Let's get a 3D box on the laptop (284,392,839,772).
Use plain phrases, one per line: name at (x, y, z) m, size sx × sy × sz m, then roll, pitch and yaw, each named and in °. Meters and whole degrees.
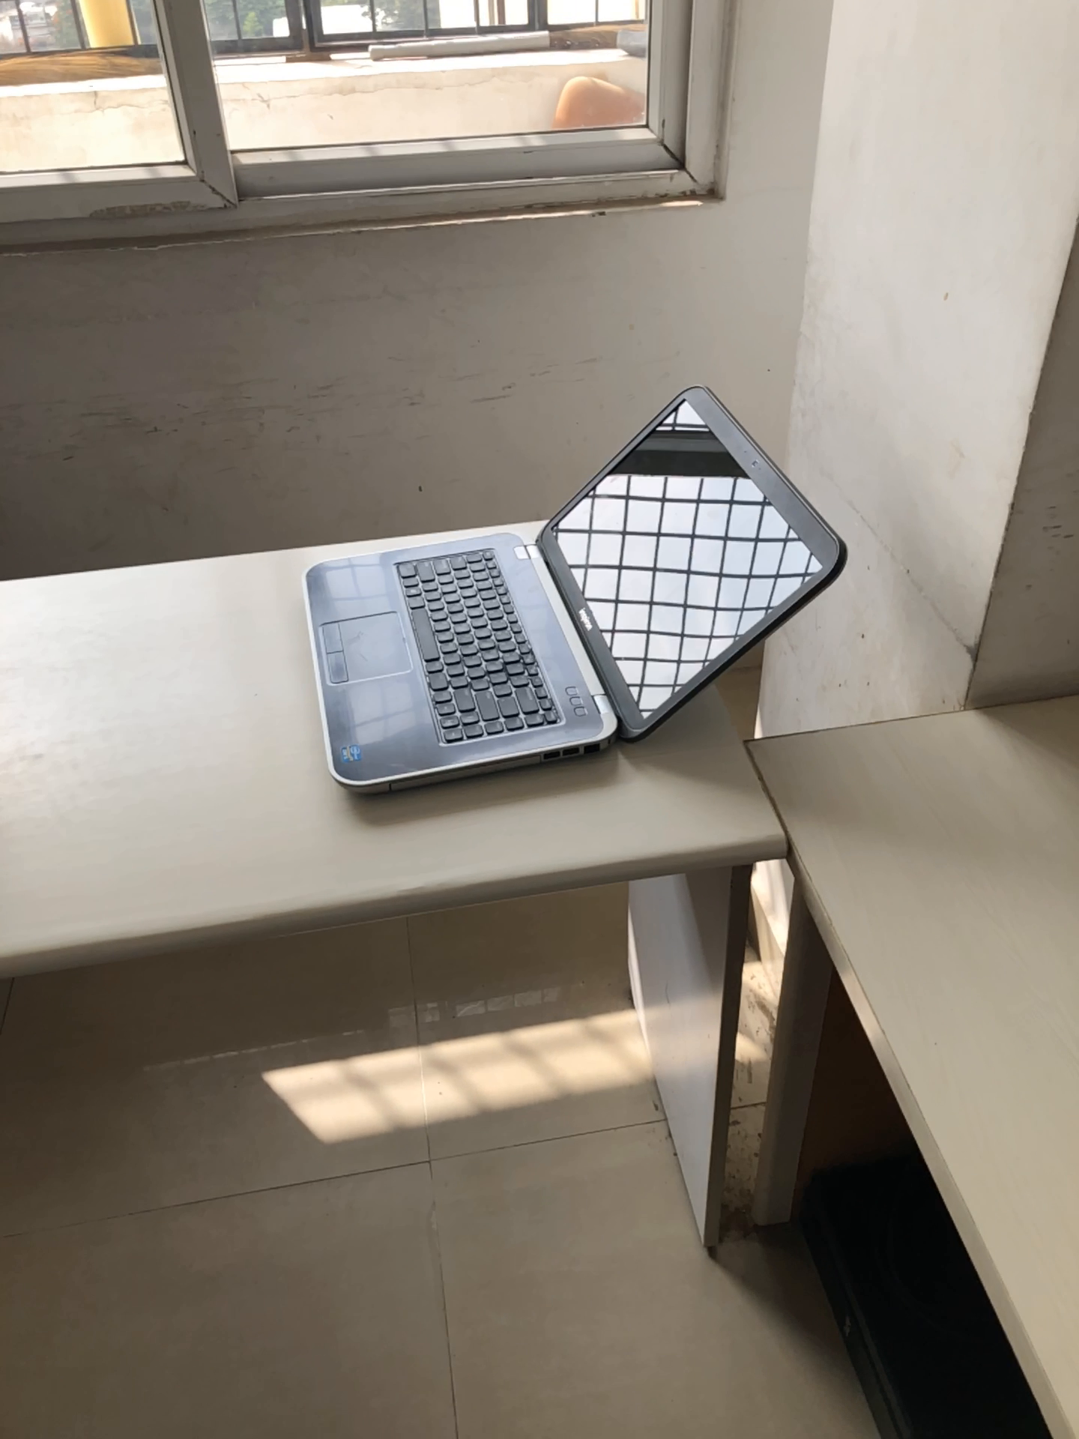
laptop at (-0.003, -0.145, 1.080) m, size 0.406 × 0.145 × 0.344 m, roll -9°, pitch 39°, yaw -9°
